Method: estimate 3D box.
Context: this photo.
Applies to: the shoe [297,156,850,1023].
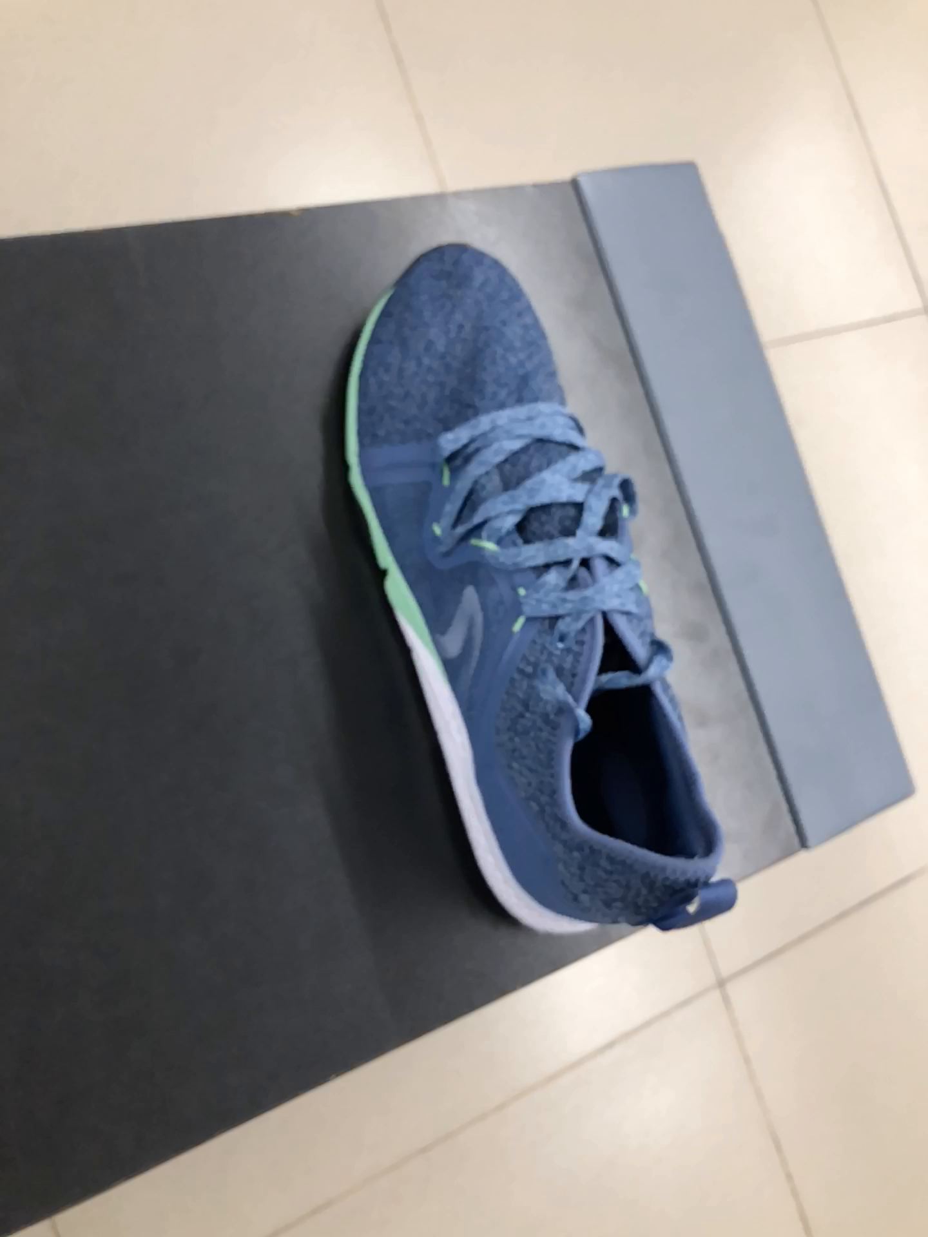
[{"bbox_3d":[0.034,-0.016,0.383,0.100,0.080,0.280,-15,86,-26],"label":"shoe"}]
